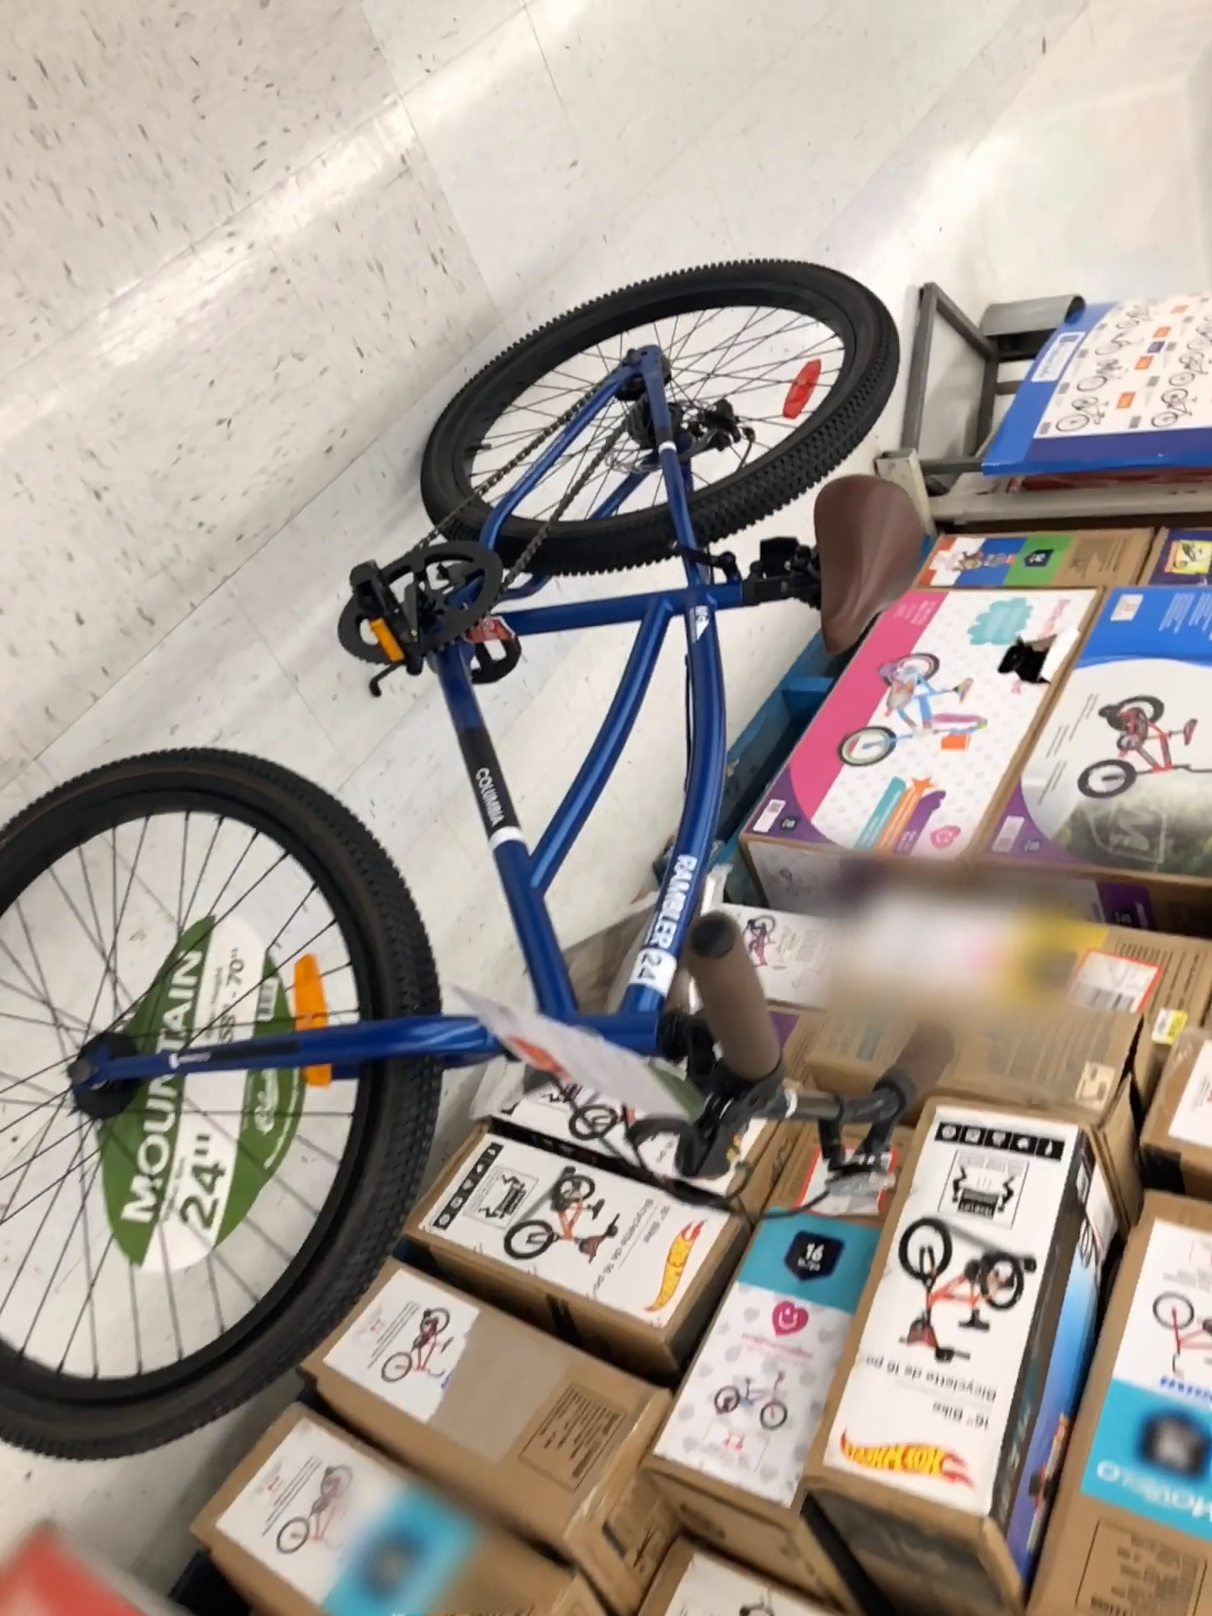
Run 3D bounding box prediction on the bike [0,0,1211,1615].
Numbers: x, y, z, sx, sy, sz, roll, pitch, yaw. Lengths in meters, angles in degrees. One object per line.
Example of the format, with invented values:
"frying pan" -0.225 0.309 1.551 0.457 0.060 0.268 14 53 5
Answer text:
"bike" 0.014 -0.058 1.340 1.555 0.928 0.651 -61 138 -27
